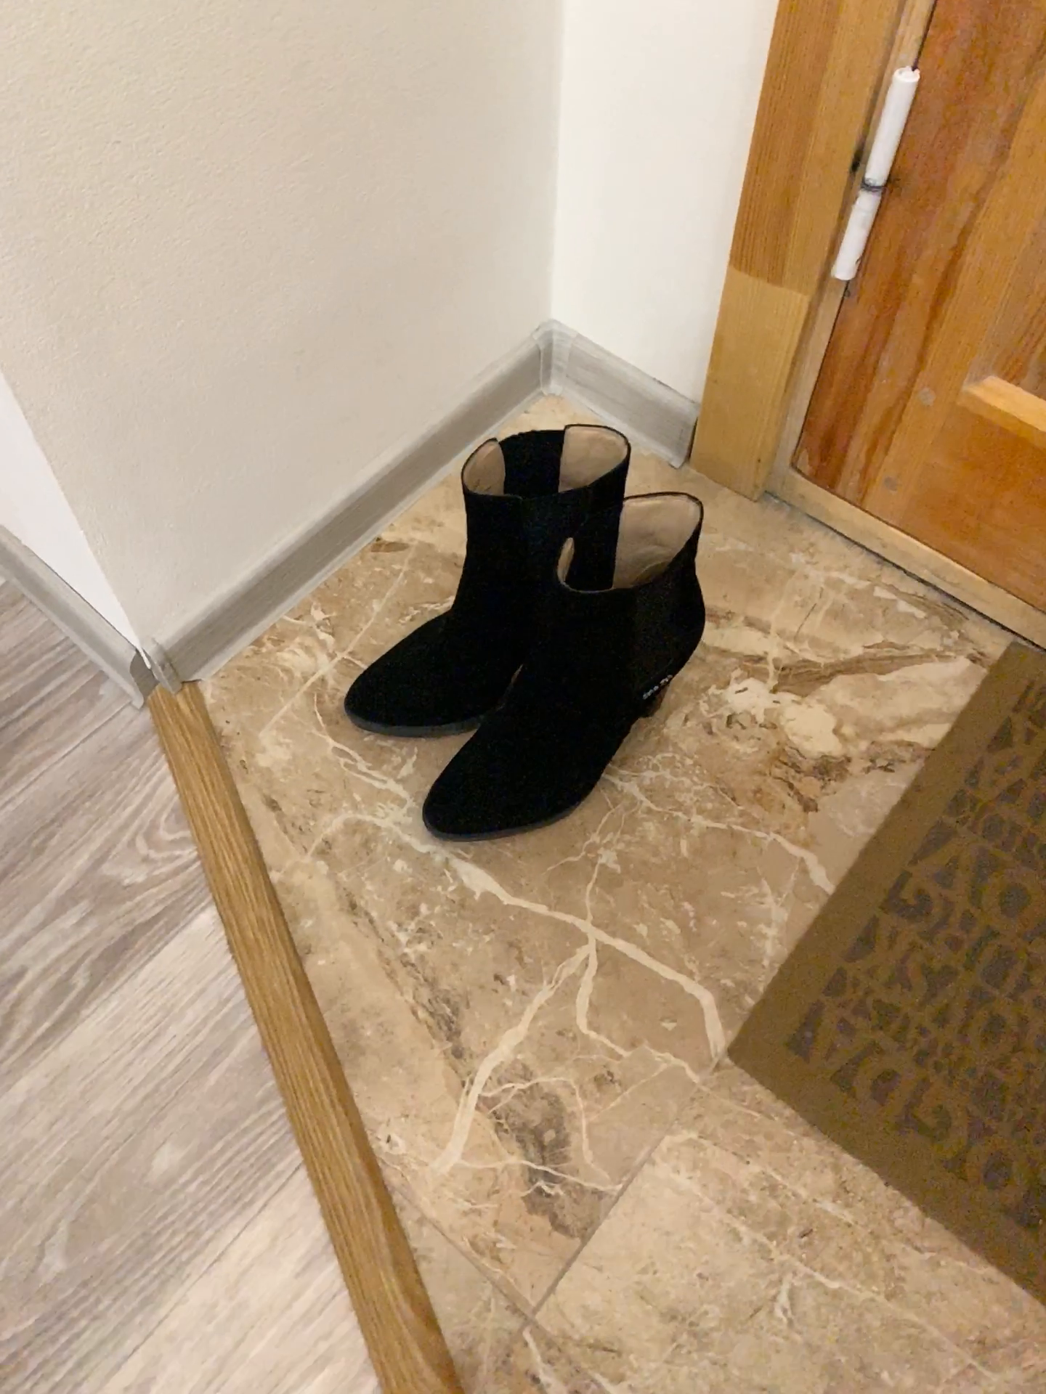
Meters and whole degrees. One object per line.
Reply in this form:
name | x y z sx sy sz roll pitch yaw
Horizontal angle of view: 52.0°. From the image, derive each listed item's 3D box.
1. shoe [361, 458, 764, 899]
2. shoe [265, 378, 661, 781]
shoe | 0.024 -0.005 0.670 0.215 0.199 0.086 -33 64 -20
shoe | -0.034 -0.071 0.706 0.214 0.199 0.087 -25 61 -16
